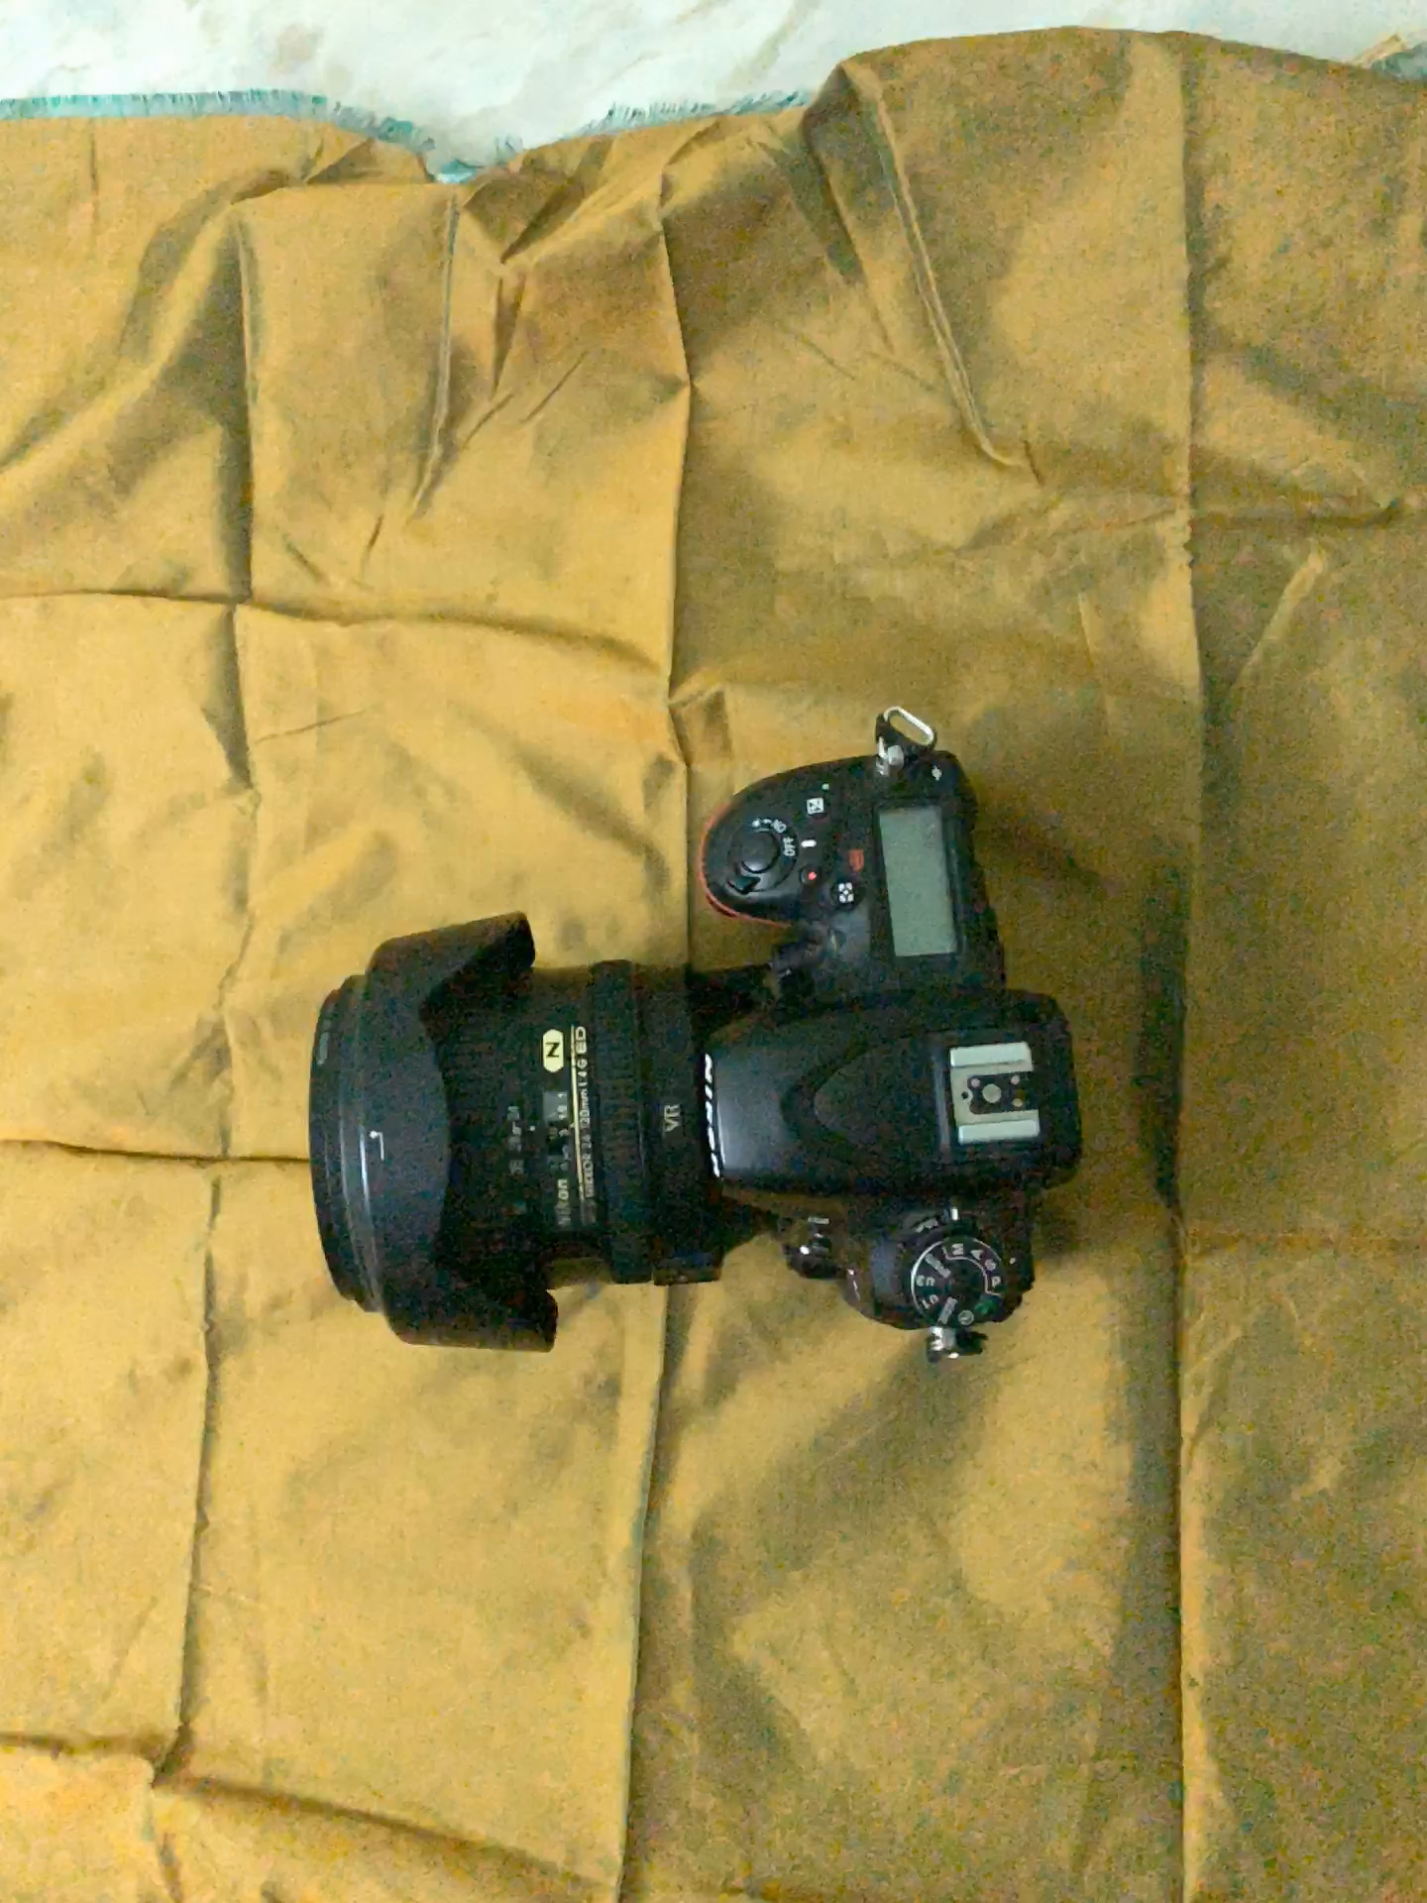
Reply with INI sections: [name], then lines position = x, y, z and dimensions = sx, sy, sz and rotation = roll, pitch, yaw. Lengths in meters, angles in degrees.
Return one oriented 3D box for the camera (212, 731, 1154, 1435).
[camera]
position = -0.009, 0.031, 0.356
dimensions = 0.193, 0.100, 0.140
rotation = -2, 84, 0
